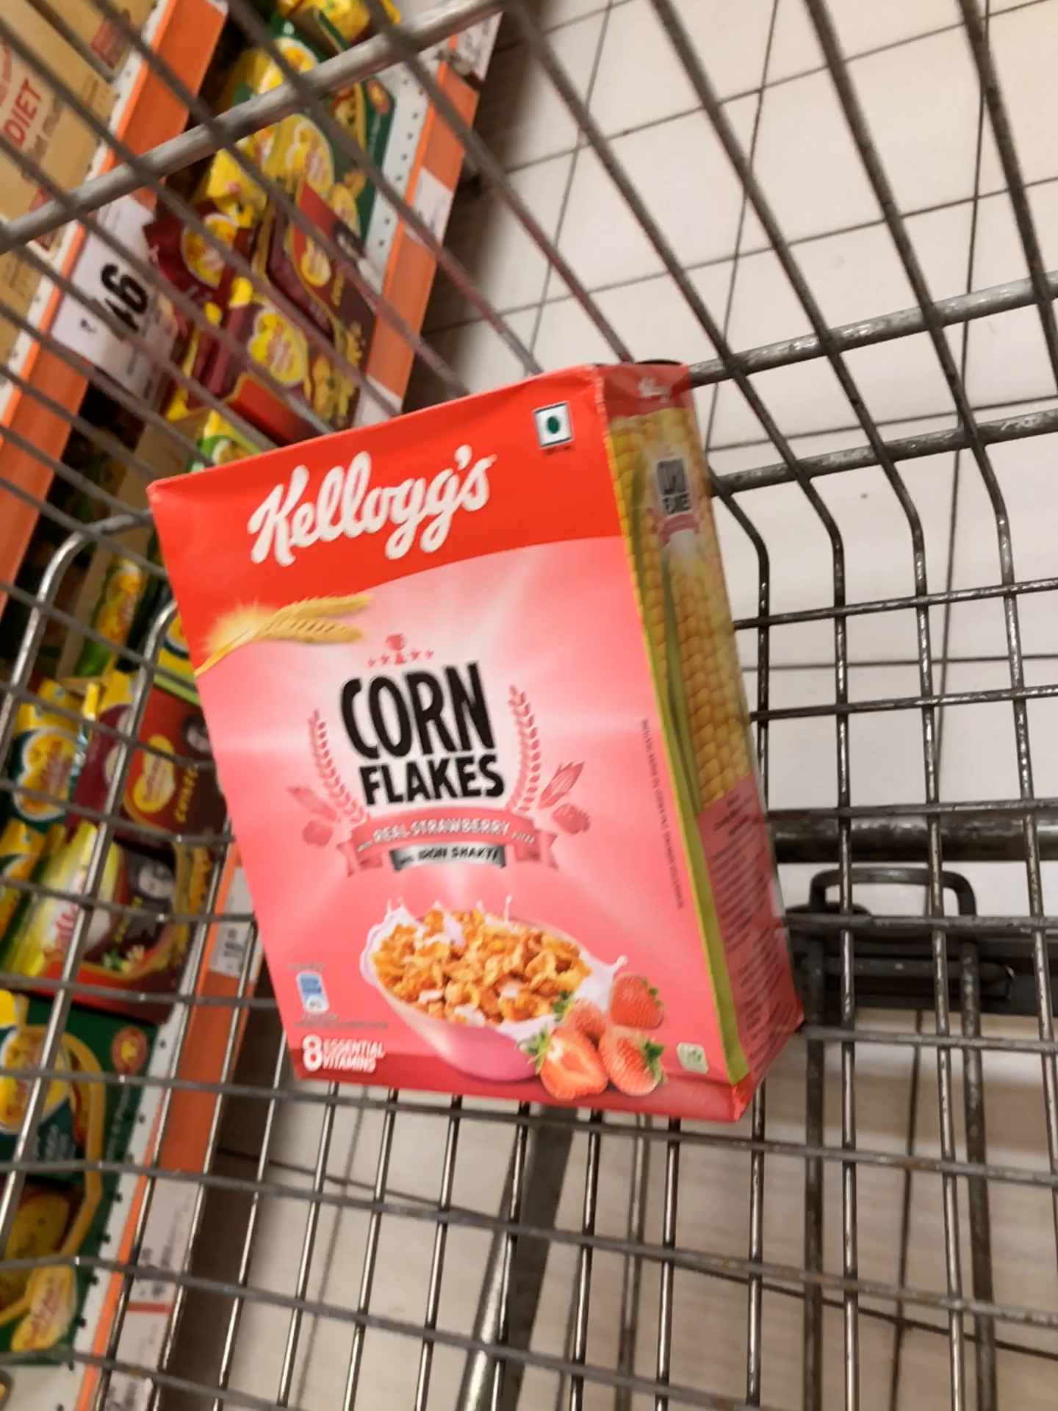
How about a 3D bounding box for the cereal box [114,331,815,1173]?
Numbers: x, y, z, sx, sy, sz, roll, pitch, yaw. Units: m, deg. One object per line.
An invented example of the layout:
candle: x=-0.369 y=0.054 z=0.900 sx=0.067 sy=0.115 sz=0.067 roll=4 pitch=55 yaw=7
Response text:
cereal box: x=-0.017 y=0.015 z=0.300 sx=0.140 sy=0.050 sz=0.180 roll=-6 pitch=100 yaw=31
